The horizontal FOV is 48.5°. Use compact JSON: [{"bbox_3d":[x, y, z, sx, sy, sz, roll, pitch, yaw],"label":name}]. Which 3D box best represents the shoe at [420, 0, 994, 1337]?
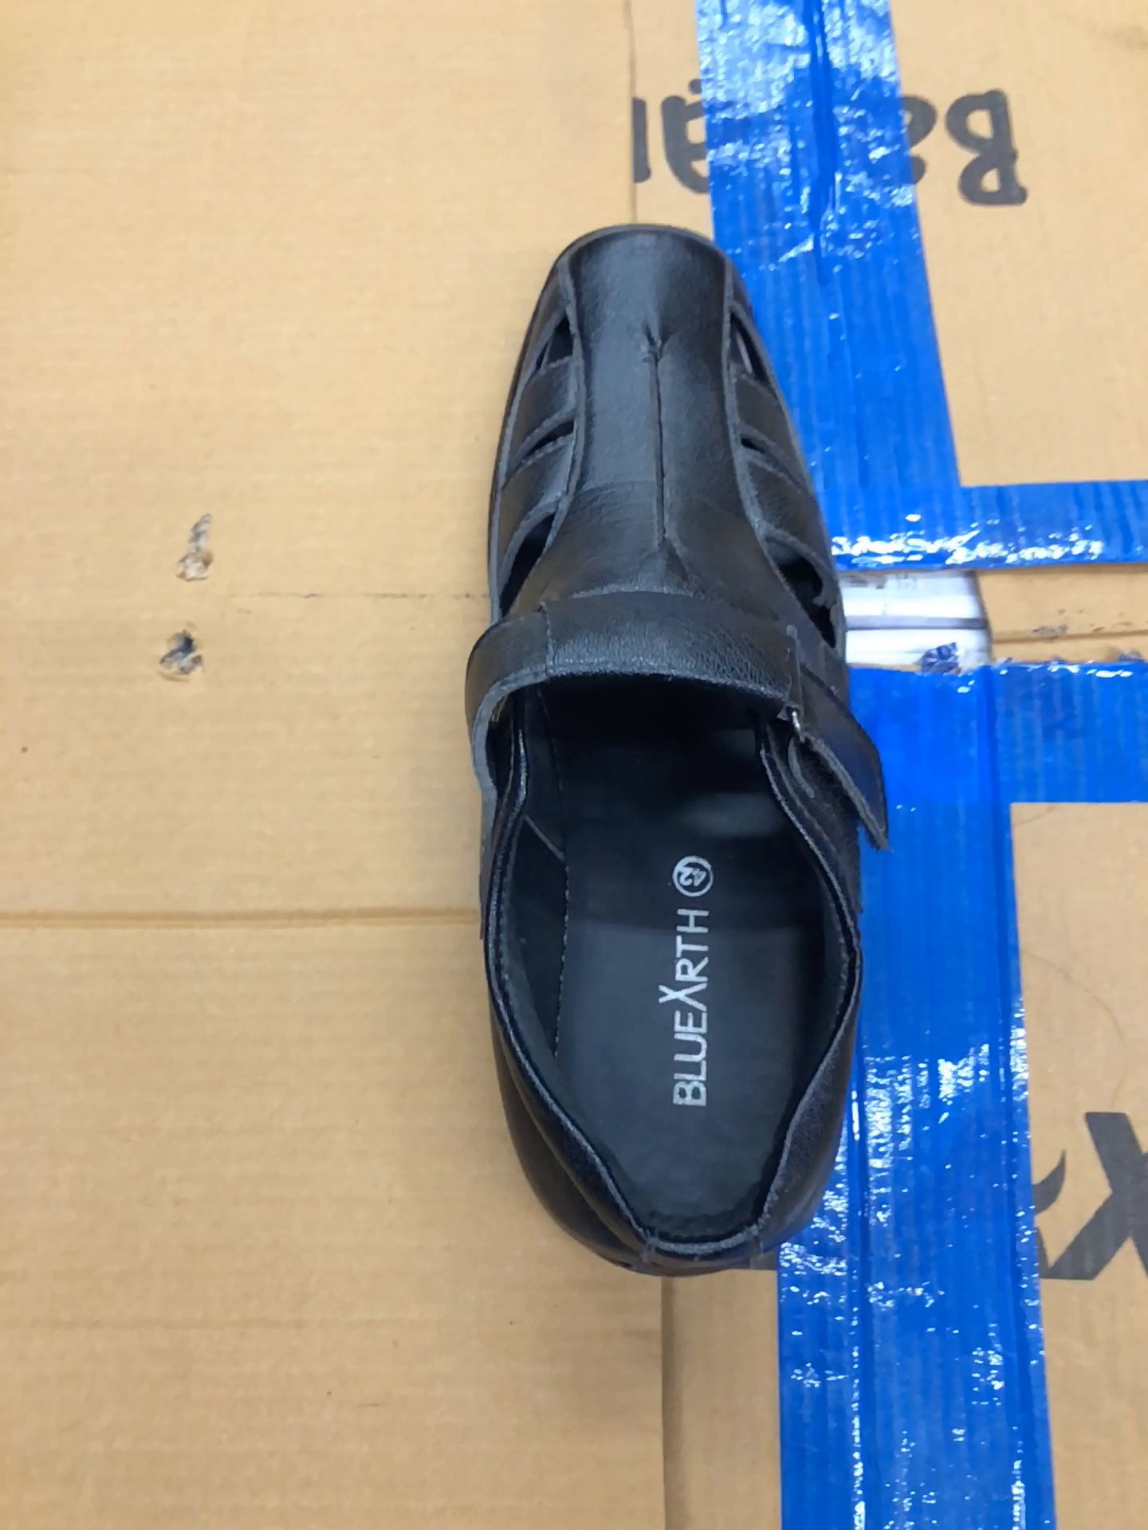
[{"bbox_3d":[0.020,-0.033,0.315,0.100,0.097,0.304,-2,73,1],"label":"shoe"}]
